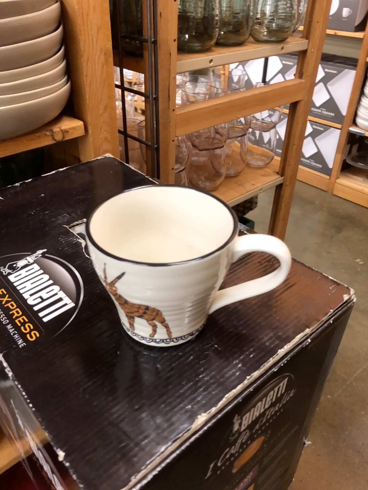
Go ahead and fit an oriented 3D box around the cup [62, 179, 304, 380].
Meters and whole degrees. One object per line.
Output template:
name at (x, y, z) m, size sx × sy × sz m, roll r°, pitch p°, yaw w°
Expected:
cup at (0.002, 0.019, 0.283) m, size 0.130 × 0.084 × 0.102 m, roll 4°, pitch 35°, yaw 4°
